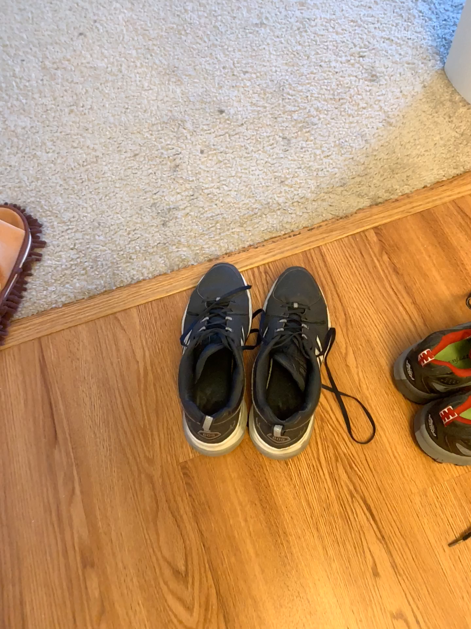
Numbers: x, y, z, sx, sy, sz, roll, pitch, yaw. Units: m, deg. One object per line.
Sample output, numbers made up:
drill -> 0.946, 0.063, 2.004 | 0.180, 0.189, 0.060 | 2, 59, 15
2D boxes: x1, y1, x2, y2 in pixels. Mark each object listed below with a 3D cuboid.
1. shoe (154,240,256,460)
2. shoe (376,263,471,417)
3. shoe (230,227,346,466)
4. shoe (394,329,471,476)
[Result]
shoe -> -0.035, 0.051, 0.735 | 0.130, 0.120, 0.311 | 0, 66, 2
shoe -> 0.386, 0.045, 0.700 | 0.300, 0.170, 0.120 | -10, 66, -2
shoe -> 0.078, 0.043, 0.689 | 0.120, 0.130, 0.301 | 7, 66, 5
shoe -> 0.421, 0.132, 0.677 | 0.320, 0.180, 0.140 | -4, 66, 0
